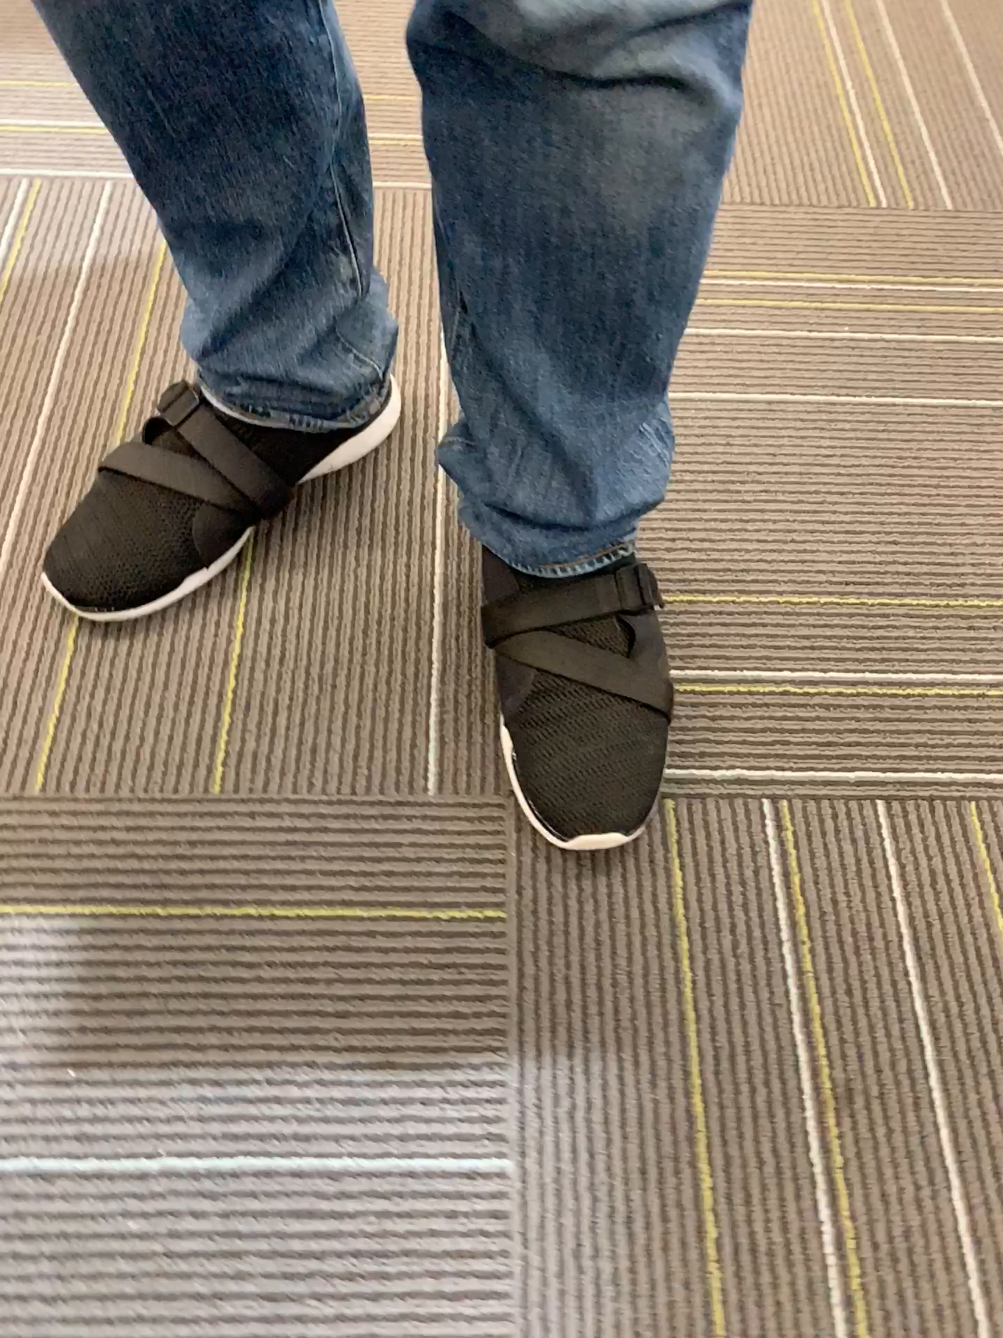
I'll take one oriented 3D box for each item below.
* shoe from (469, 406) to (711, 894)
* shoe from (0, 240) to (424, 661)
[{"bbox_3d":[0.044,-0.019,0.674,0.120,0.120,0.301,-1,60,-3],"label":"shoe"},{"bbox_3d":[-0.206,-0.161,0.728,0.120,0.110,0.300,40,66,19],"label":"shoe"}]
